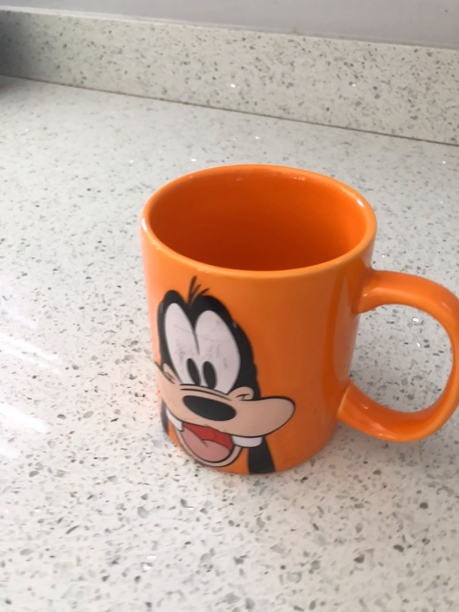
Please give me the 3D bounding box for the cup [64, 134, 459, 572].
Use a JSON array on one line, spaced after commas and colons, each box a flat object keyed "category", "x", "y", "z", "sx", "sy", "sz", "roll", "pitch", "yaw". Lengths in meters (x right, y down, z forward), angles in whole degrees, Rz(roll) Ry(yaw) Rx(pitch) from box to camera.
[{"category": "cup", "x": 0.025, "y": 0.007, "z": 0.201, "sx": 0.130, "sy": 0.101, "sz": 0.090, "roll": 19, "pitch": 40, "yaw": 23}]
